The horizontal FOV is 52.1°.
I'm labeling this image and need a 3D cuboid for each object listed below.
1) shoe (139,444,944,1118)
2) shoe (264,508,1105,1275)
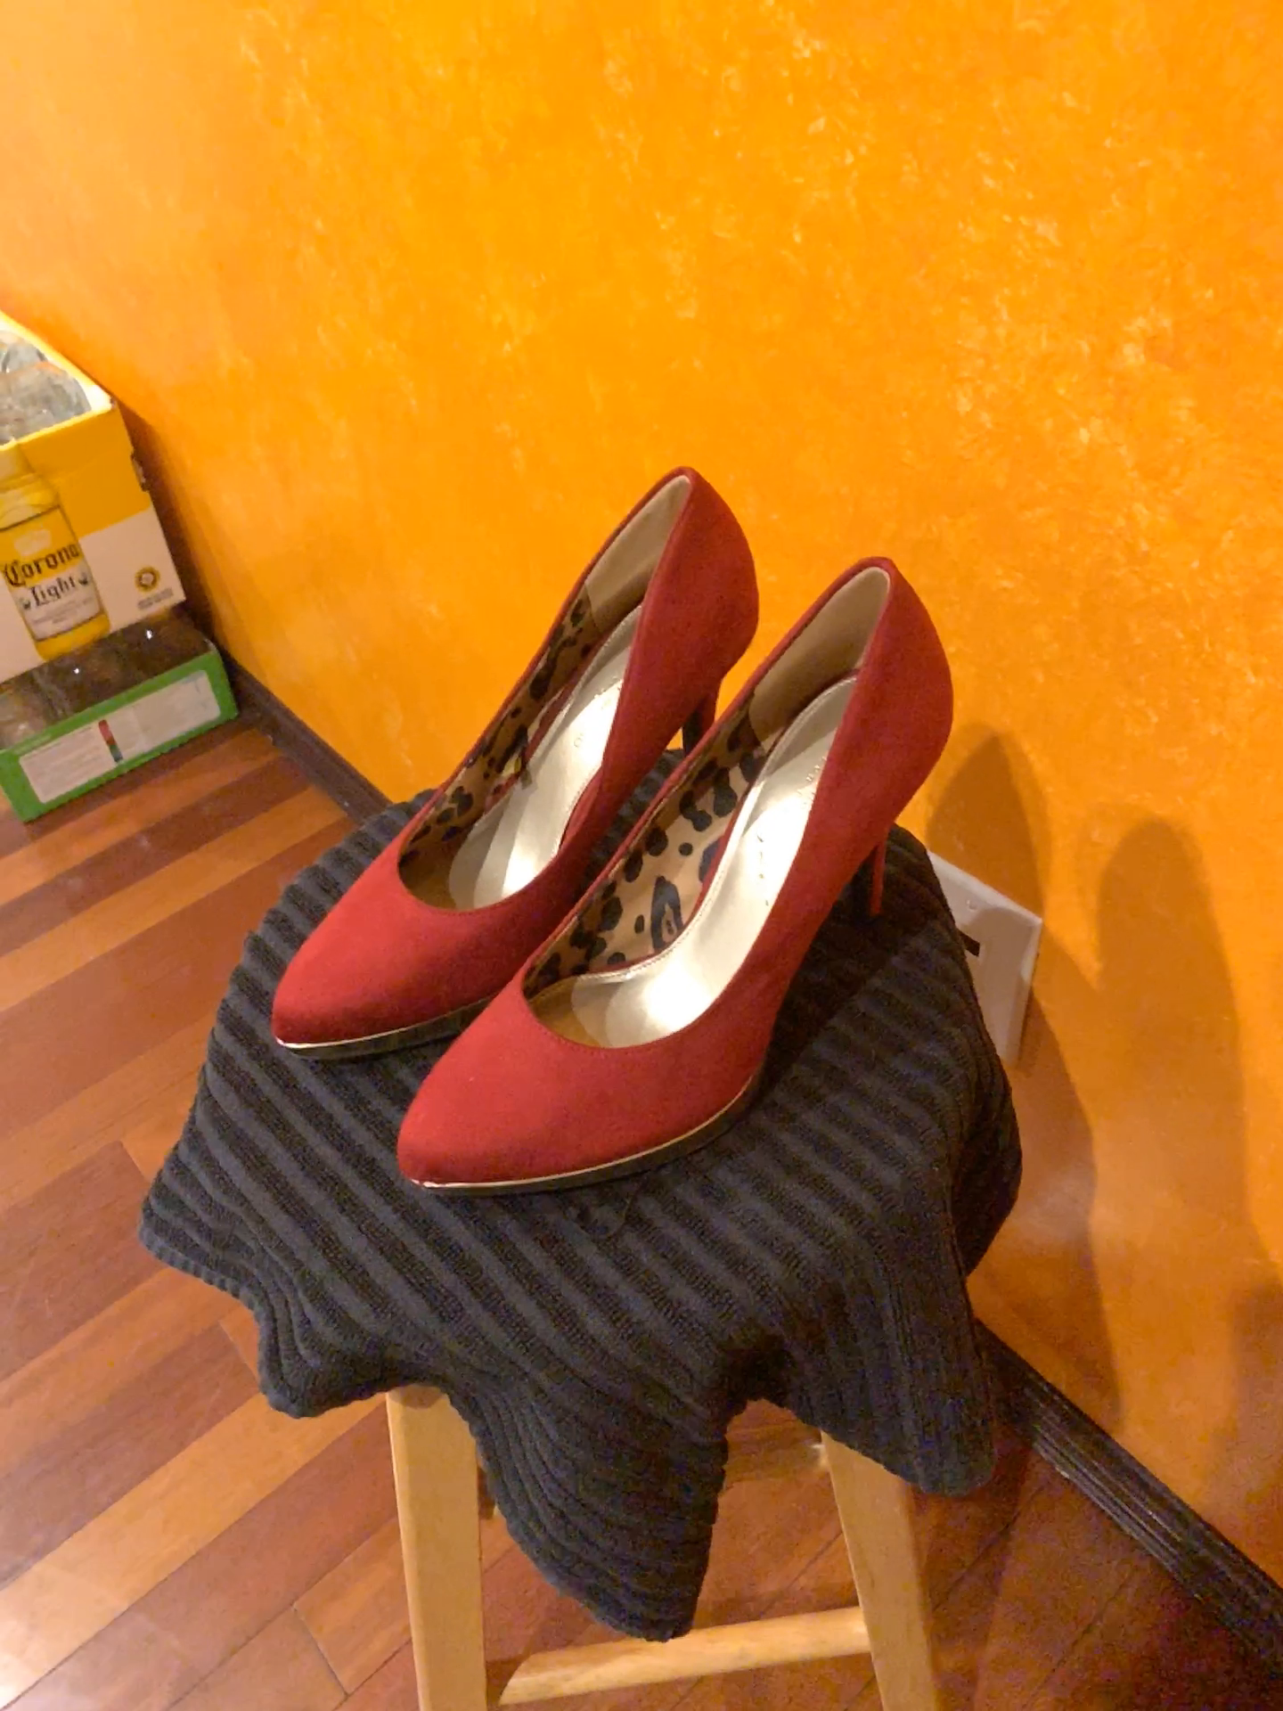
[{"bbox_3d":[-0.024,-0.044,0.511,0.290,0.119,0.100,-31,54,-31],"label":"shoe"},{"bbox_3d":[0.024,-0.001,0.451,0.270,0.128,0.093,-30,54,-30],"label":"shoe"}]
